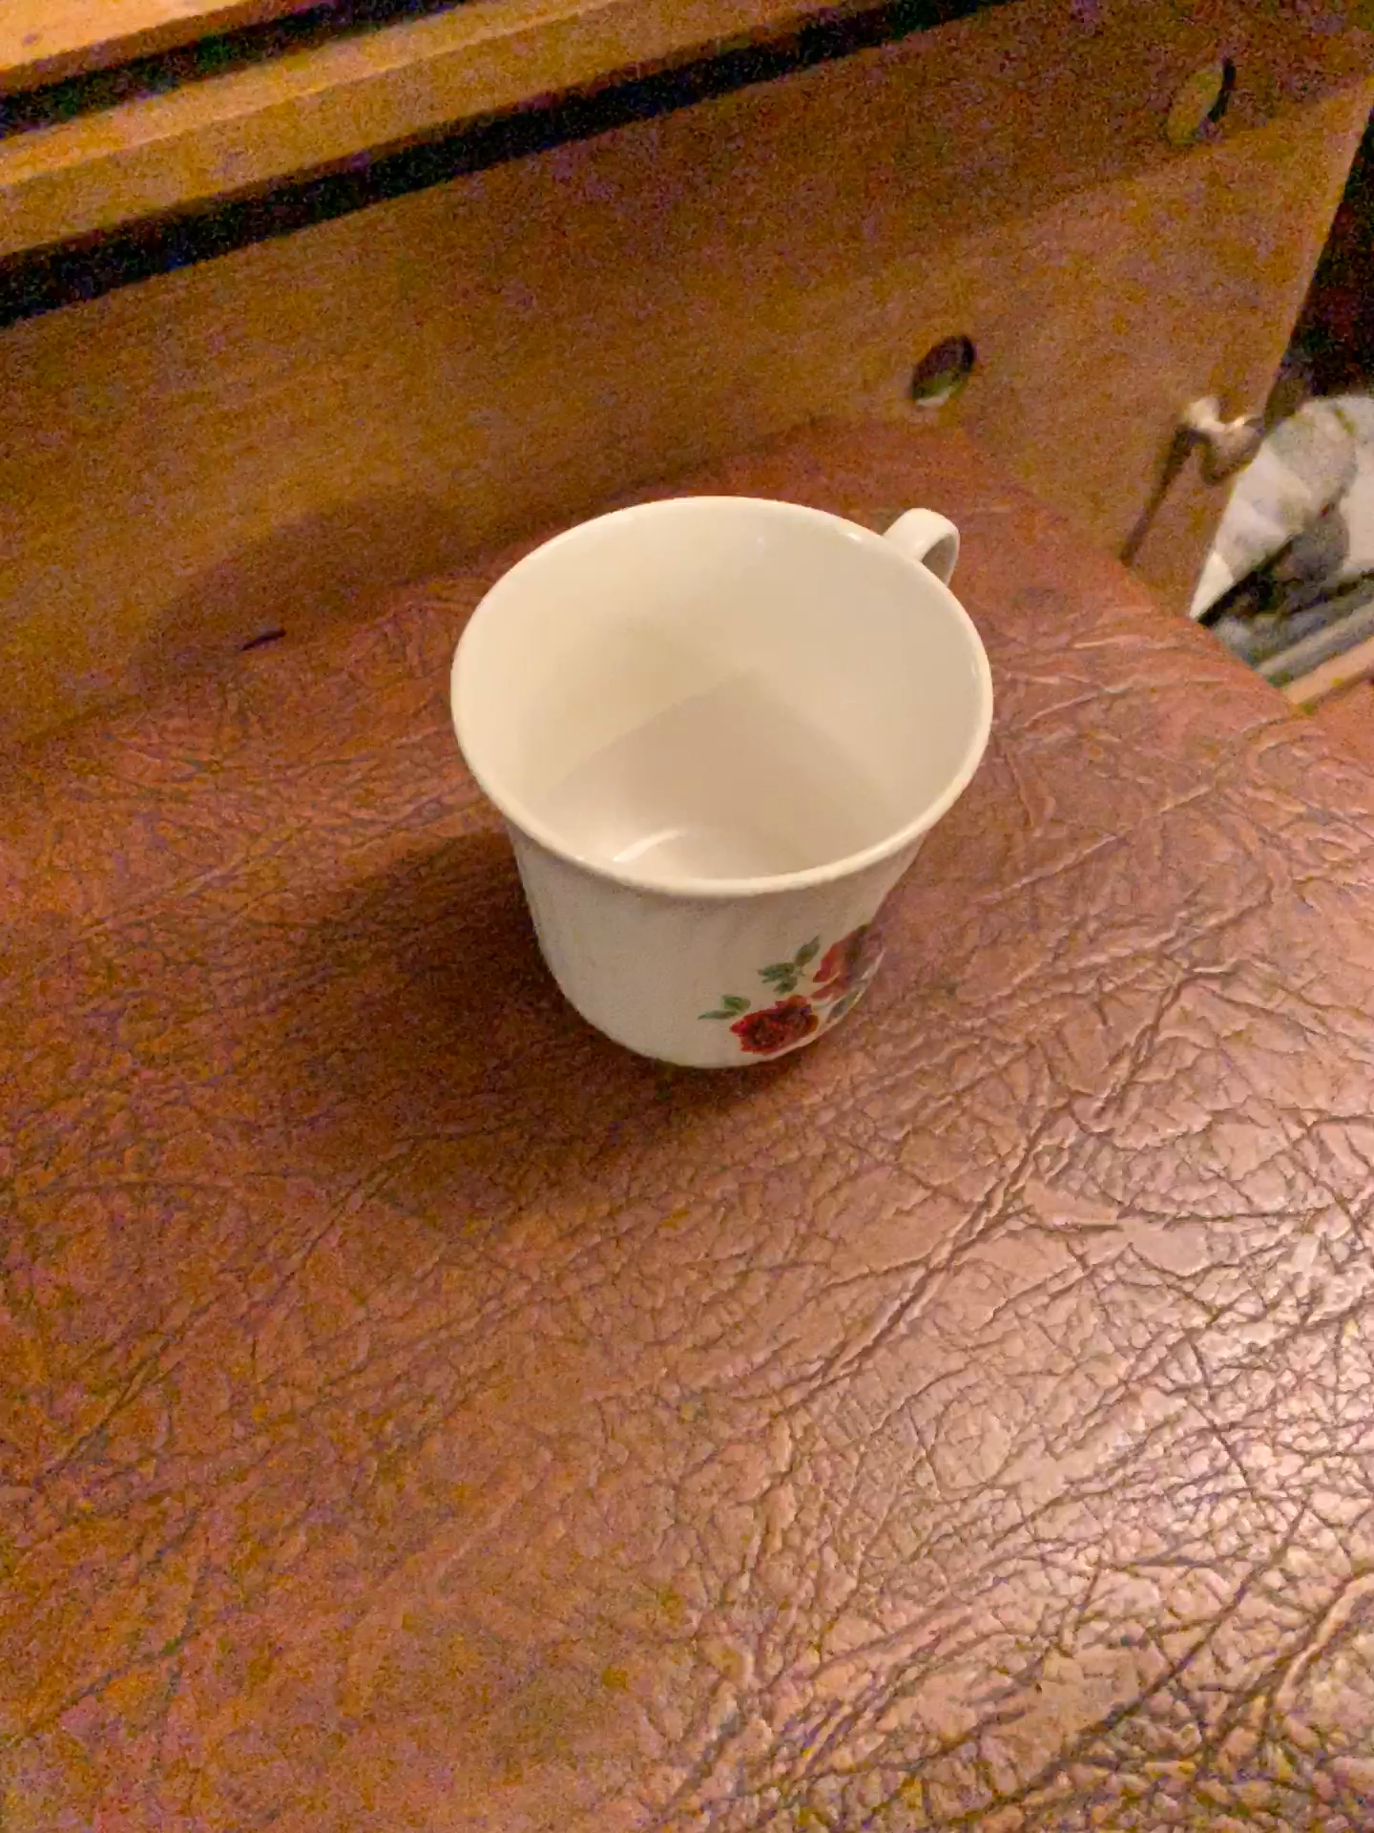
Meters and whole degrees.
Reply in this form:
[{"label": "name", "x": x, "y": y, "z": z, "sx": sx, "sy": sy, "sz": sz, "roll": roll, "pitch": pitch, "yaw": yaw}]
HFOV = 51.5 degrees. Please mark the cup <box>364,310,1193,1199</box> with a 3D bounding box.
[{"label": "cup", "x": 0.019, "y": -0.032, "z": 0.255, "sx": 0.085, "sy": 0.082, "sz": 0.112, "roll": 26, "pitch": 59, "yaw": 20}]
